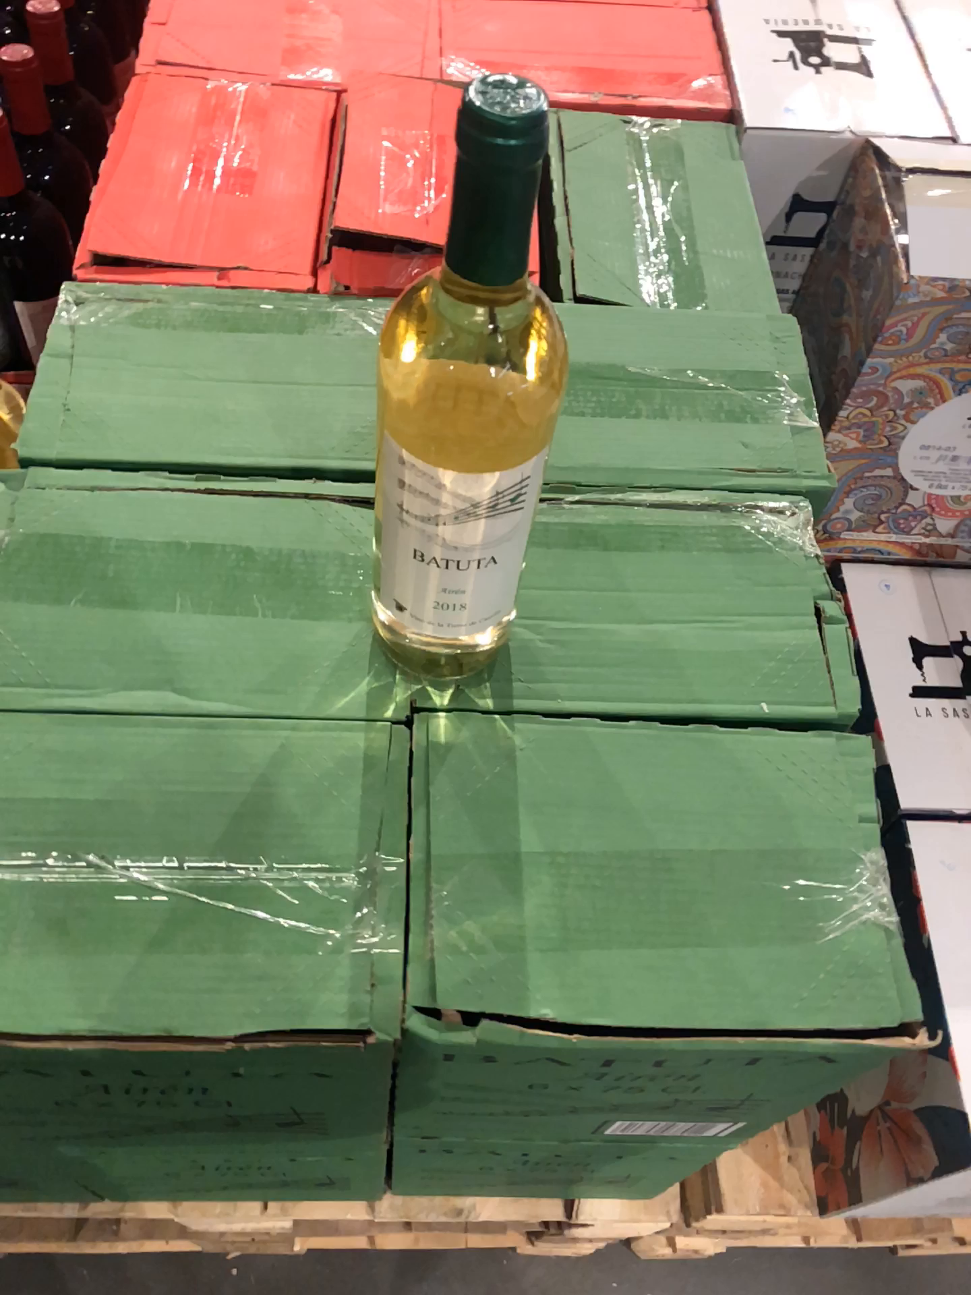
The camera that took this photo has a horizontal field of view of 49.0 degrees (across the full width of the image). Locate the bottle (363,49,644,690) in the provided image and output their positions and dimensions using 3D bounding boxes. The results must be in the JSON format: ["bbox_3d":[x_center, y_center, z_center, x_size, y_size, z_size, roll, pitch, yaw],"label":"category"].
[{"bbox_3d":[-0.007,-0.086,0.434,0.080,0.262,0.084,3,57,-4],"label":"bottle"}]
